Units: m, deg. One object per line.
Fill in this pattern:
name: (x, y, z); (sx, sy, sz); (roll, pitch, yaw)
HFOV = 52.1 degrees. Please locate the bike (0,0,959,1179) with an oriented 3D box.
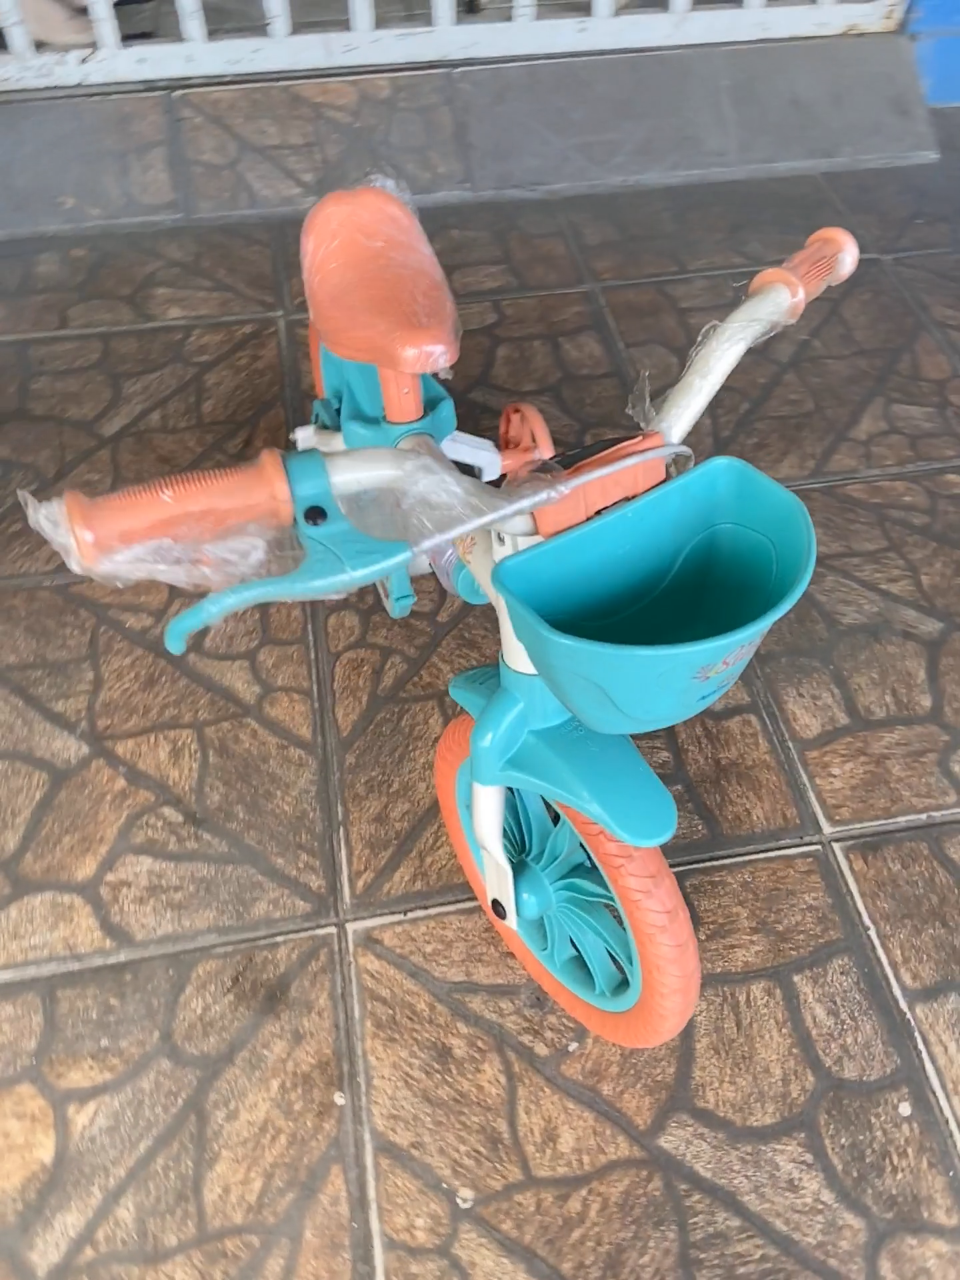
bike: (-0.001, -0.130, 0.807); (0.499, 0.534, 0.809); (-19, 52, -14)
